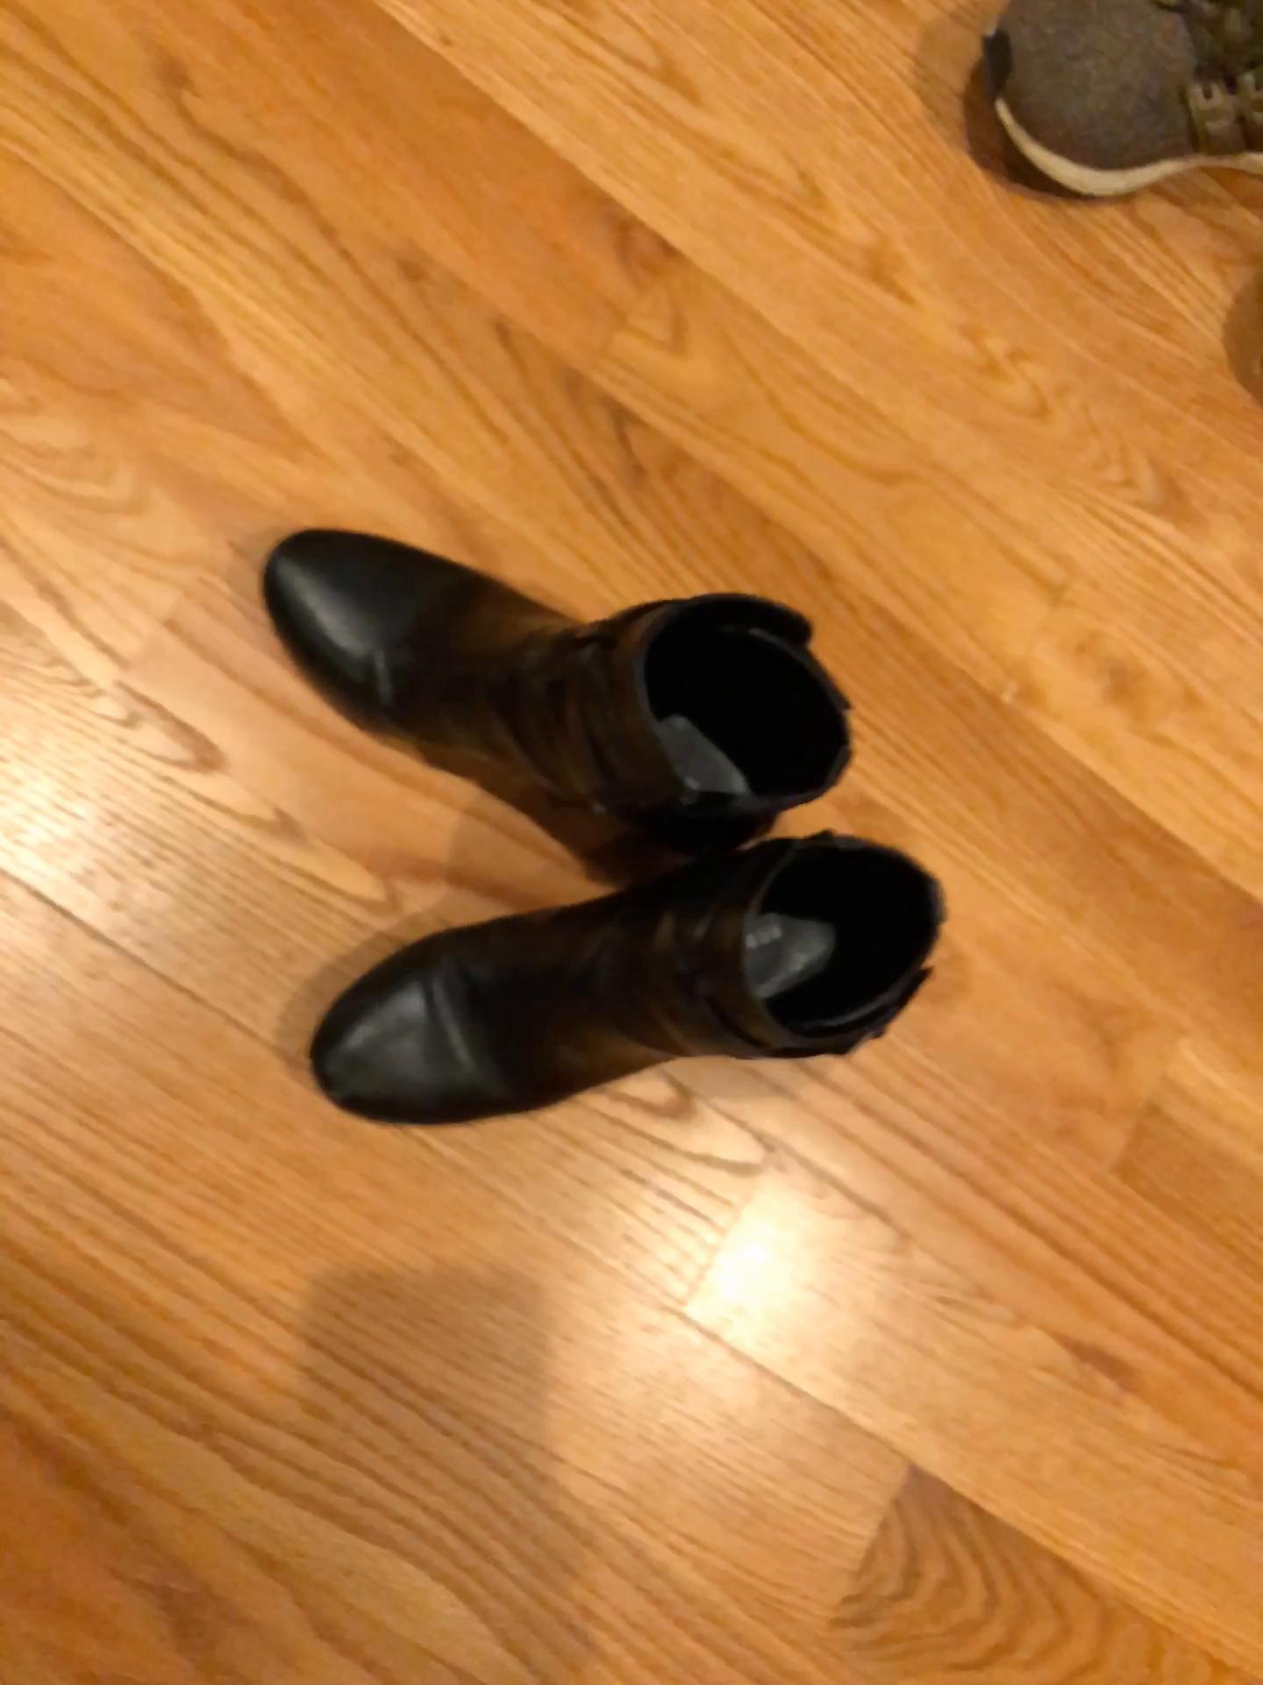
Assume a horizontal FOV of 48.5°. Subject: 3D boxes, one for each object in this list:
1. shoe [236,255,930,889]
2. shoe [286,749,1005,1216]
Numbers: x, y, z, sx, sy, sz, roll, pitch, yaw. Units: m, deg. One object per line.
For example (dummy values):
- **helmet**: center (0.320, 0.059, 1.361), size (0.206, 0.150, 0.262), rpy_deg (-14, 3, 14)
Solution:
- **shoe**: center (-0.032, -0.087, 0.555), size (0.226, 0.173, 0.090), rpy_deg (32, 76, -9)
- **shoe**: center (-0.008, 0.051, 0.548), size (0.226, 0.173, 0.090), rpy_deg (-16, 88, -17)
